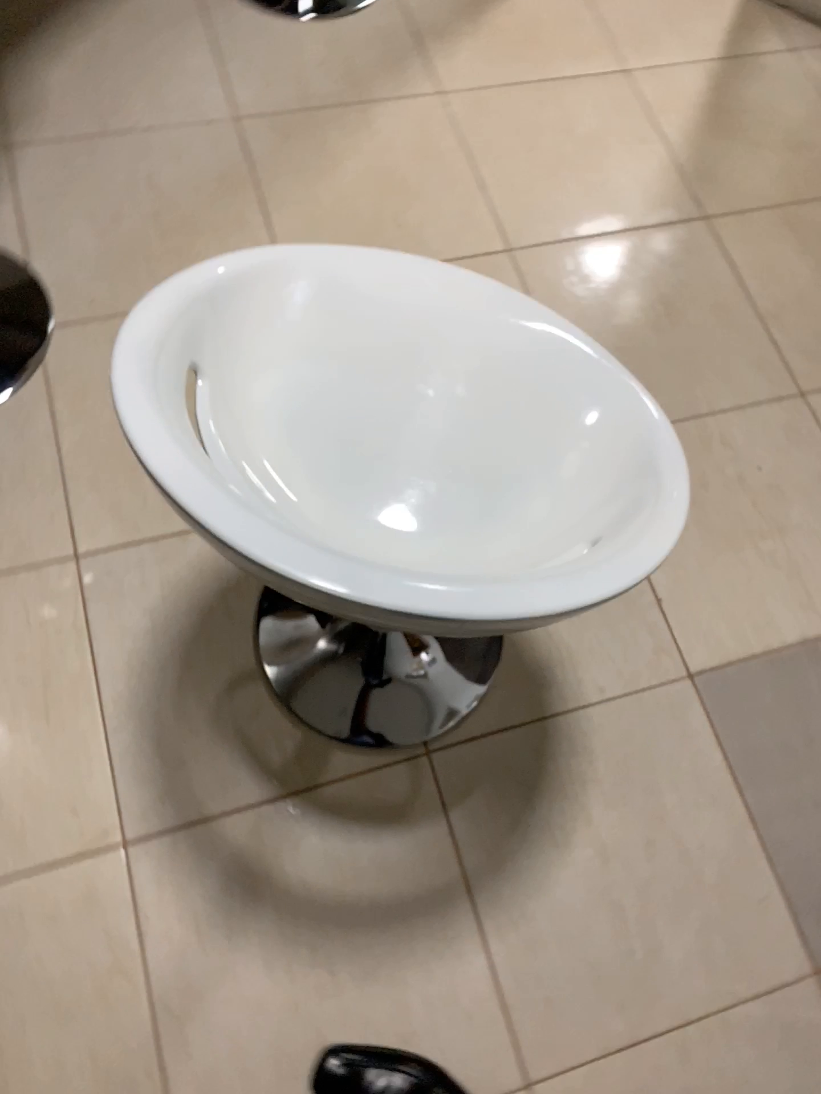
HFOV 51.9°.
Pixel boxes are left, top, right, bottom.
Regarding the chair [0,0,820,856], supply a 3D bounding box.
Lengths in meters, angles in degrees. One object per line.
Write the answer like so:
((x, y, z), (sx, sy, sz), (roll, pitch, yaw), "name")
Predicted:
((-0.013, -0.025, 0.897), (0.470, 0.737, 0.452), (29, 67, 6), "chair")
